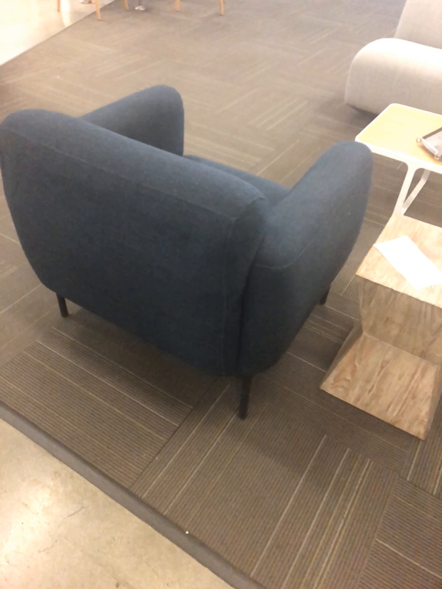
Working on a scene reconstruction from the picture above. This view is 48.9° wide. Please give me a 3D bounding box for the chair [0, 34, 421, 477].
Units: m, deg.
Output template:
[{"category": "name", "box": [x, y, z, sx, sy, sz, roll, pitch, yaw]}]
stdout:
[{"category": "chair", "box": [-0.075, -0.200, 1.517, 0.921, 0.783, 0.847, 25, 47, 21]}]
